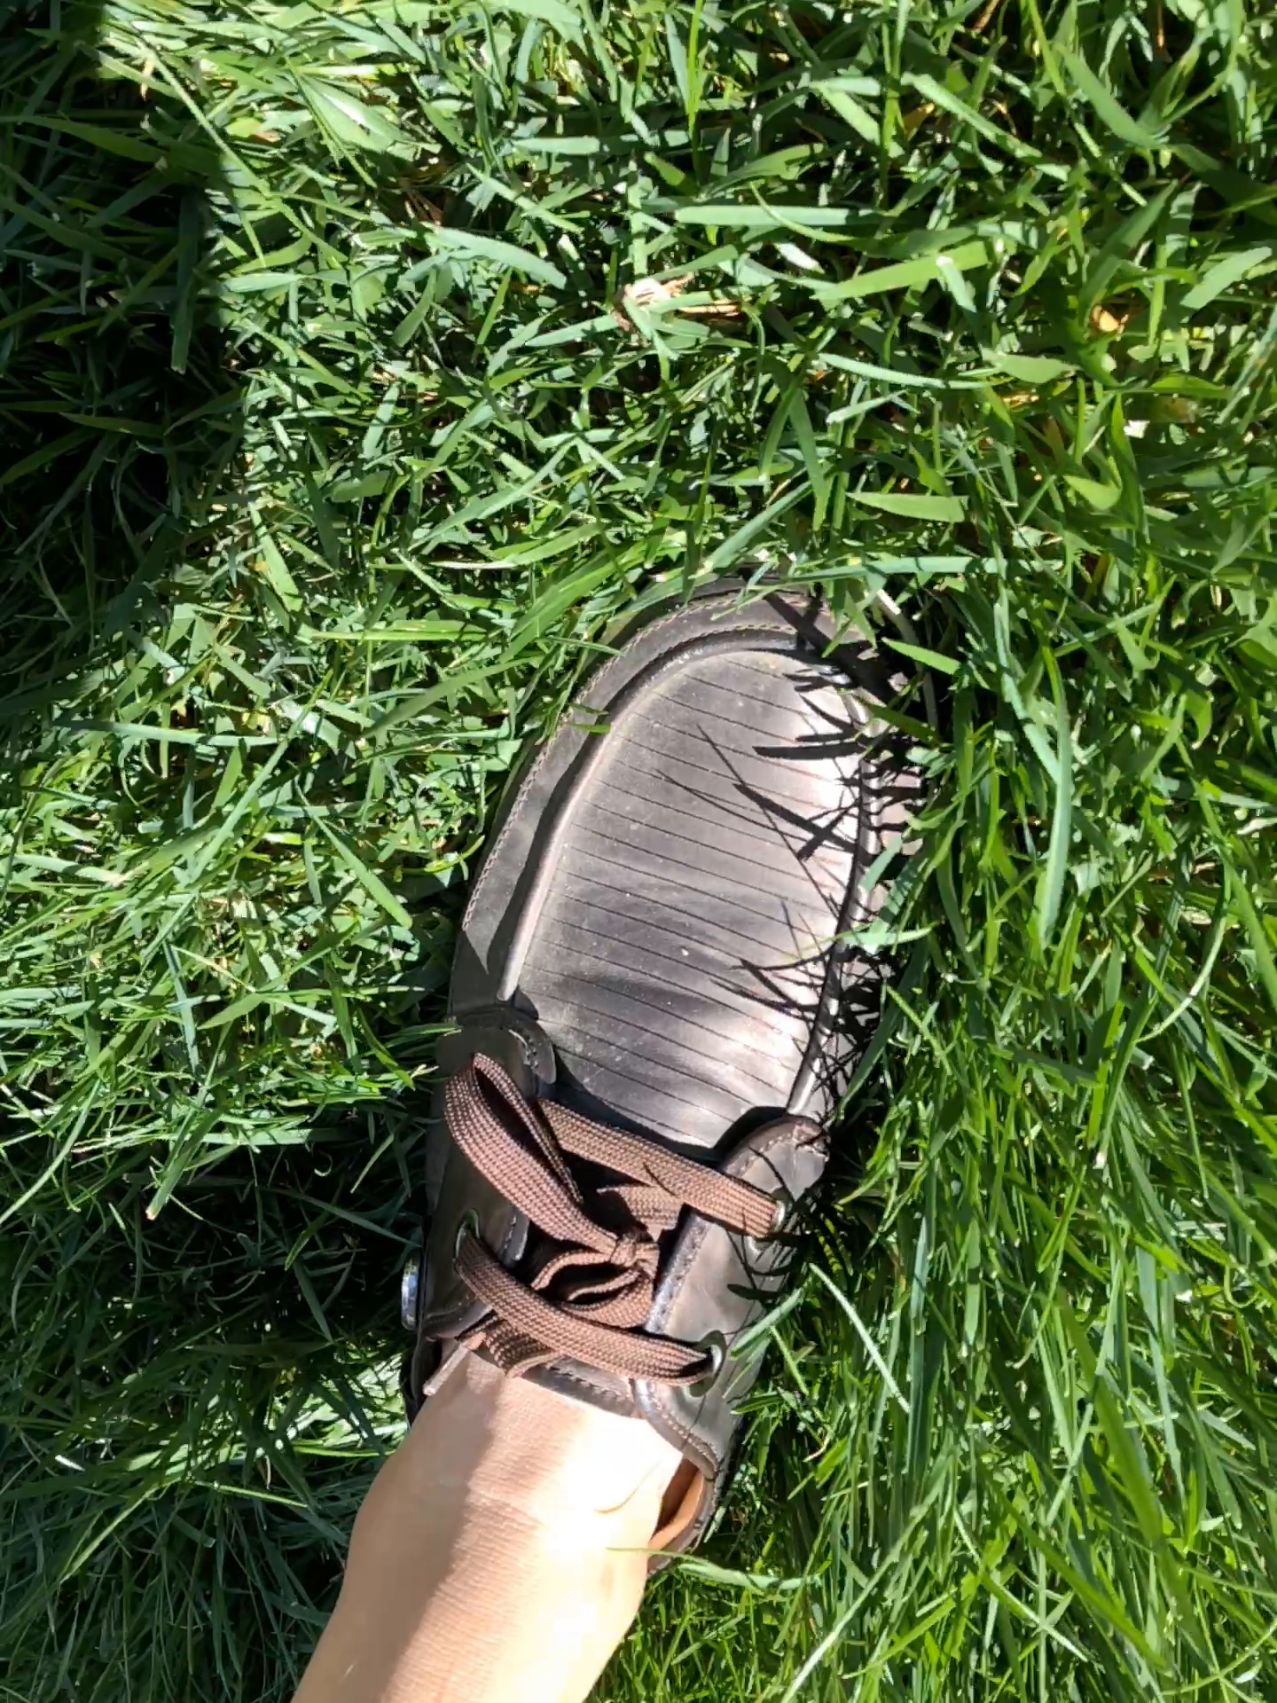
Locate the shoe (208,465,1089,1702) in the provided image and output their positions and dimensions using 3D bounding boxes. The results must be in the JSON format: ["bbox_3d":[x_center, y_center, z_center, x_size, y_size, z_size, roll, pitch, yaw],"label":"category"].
[{"bbox_3d":[-0.008,0.074,0.313,0.112,0.093,0.281,17,114,6],"label":"shoe"}]
